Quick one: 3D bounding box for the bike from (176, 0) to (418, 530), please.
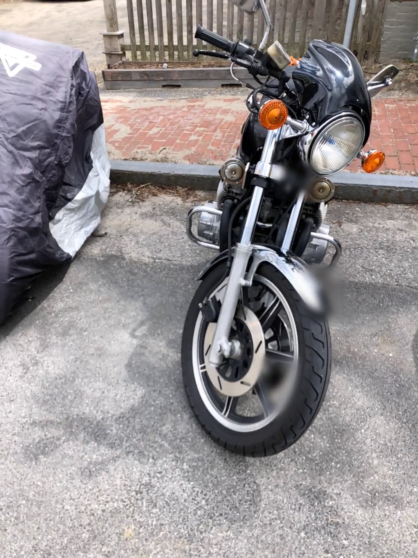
[{"bbox_3d":[0.389,-0.358,1.860,0.708,1.157,1.981,3,37,5],"label":"bike"}]
